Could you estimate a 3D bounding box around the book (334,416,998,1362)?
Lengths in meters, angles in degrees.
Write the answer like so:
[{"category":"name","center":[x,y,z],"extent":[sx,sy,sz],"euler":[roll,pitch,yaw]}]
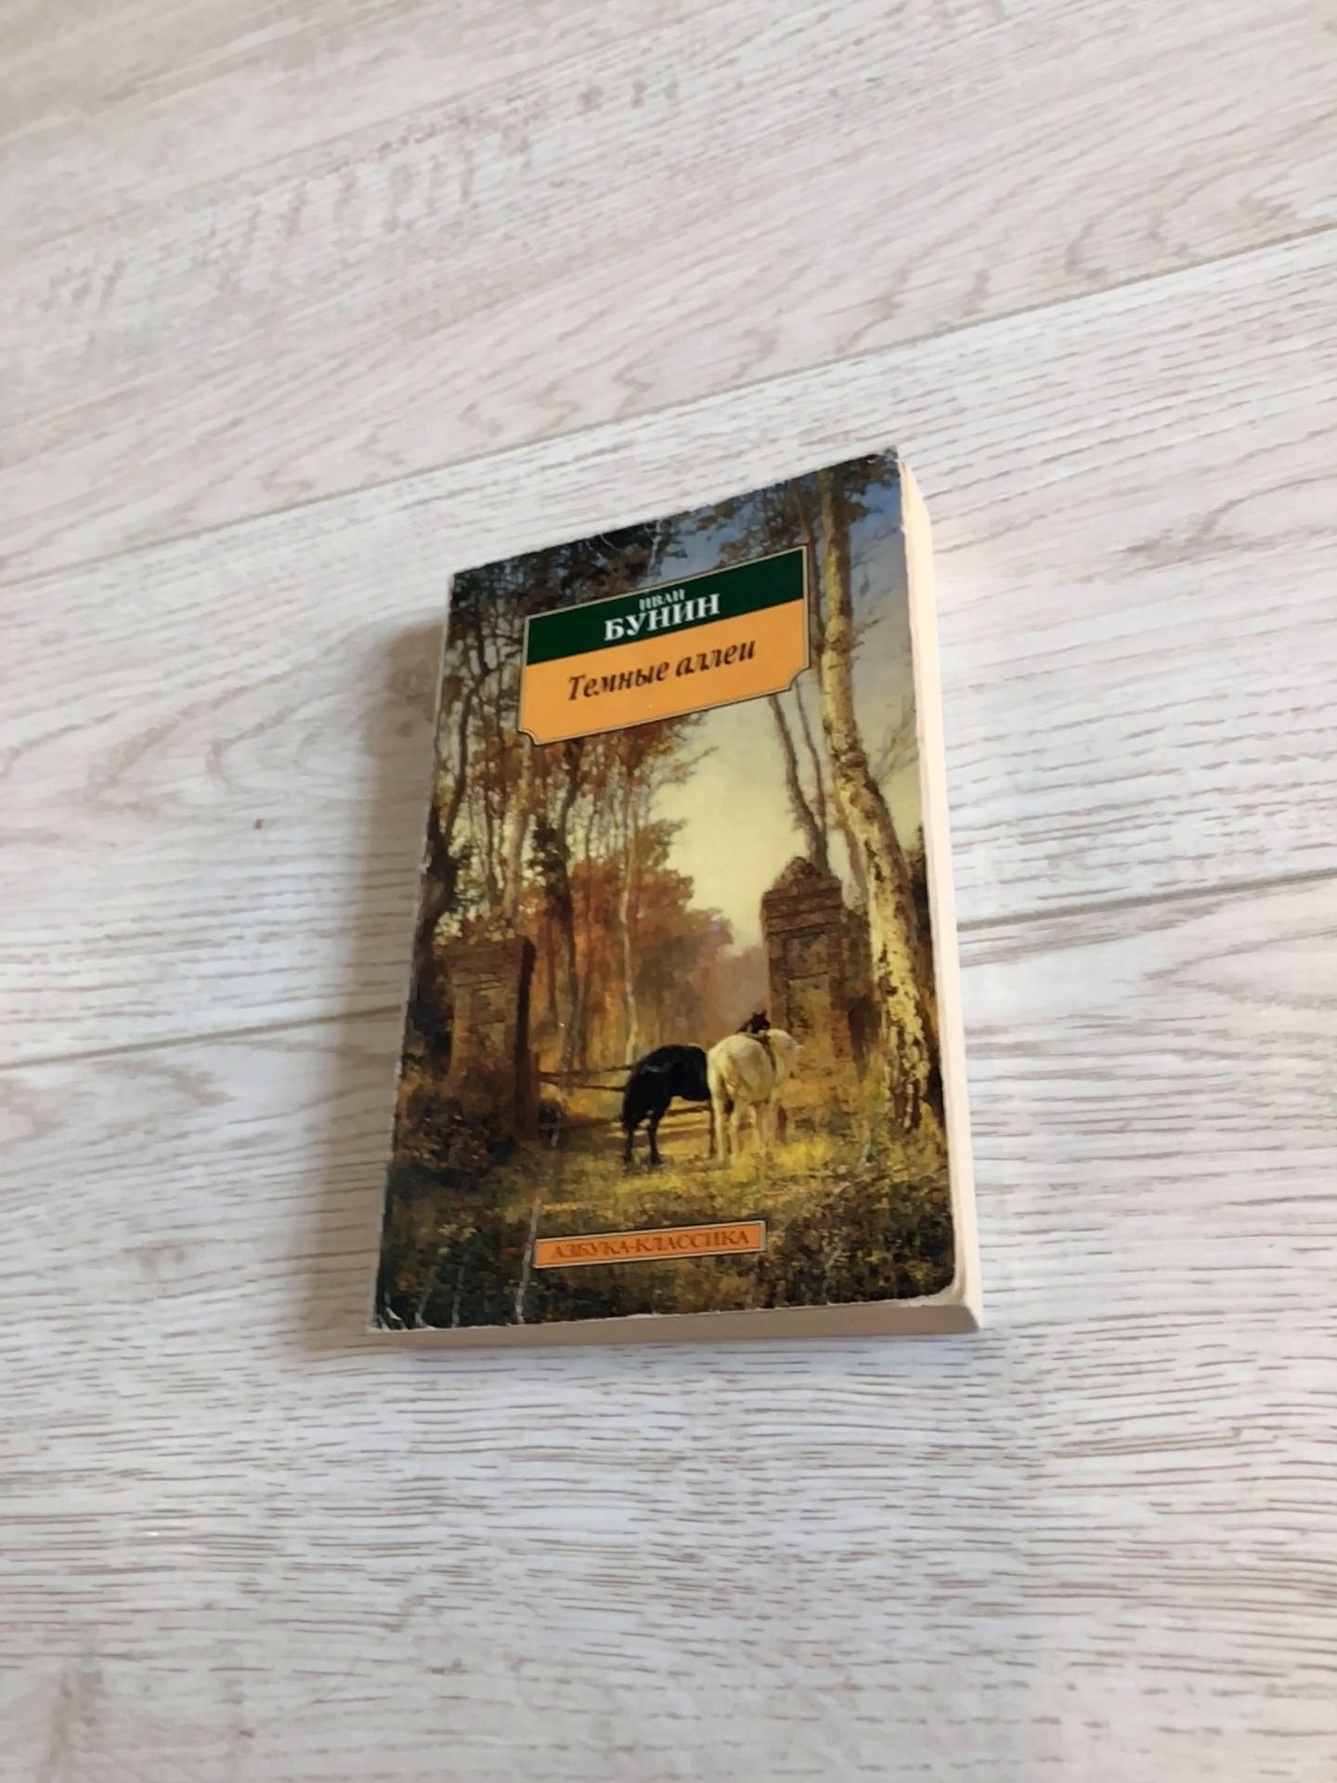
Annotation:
[{"category":"book","center":[-0.001,-0.004,0.291],"extent":[0.112,0.024,0.177],"euler":[-10,61,21]}]
